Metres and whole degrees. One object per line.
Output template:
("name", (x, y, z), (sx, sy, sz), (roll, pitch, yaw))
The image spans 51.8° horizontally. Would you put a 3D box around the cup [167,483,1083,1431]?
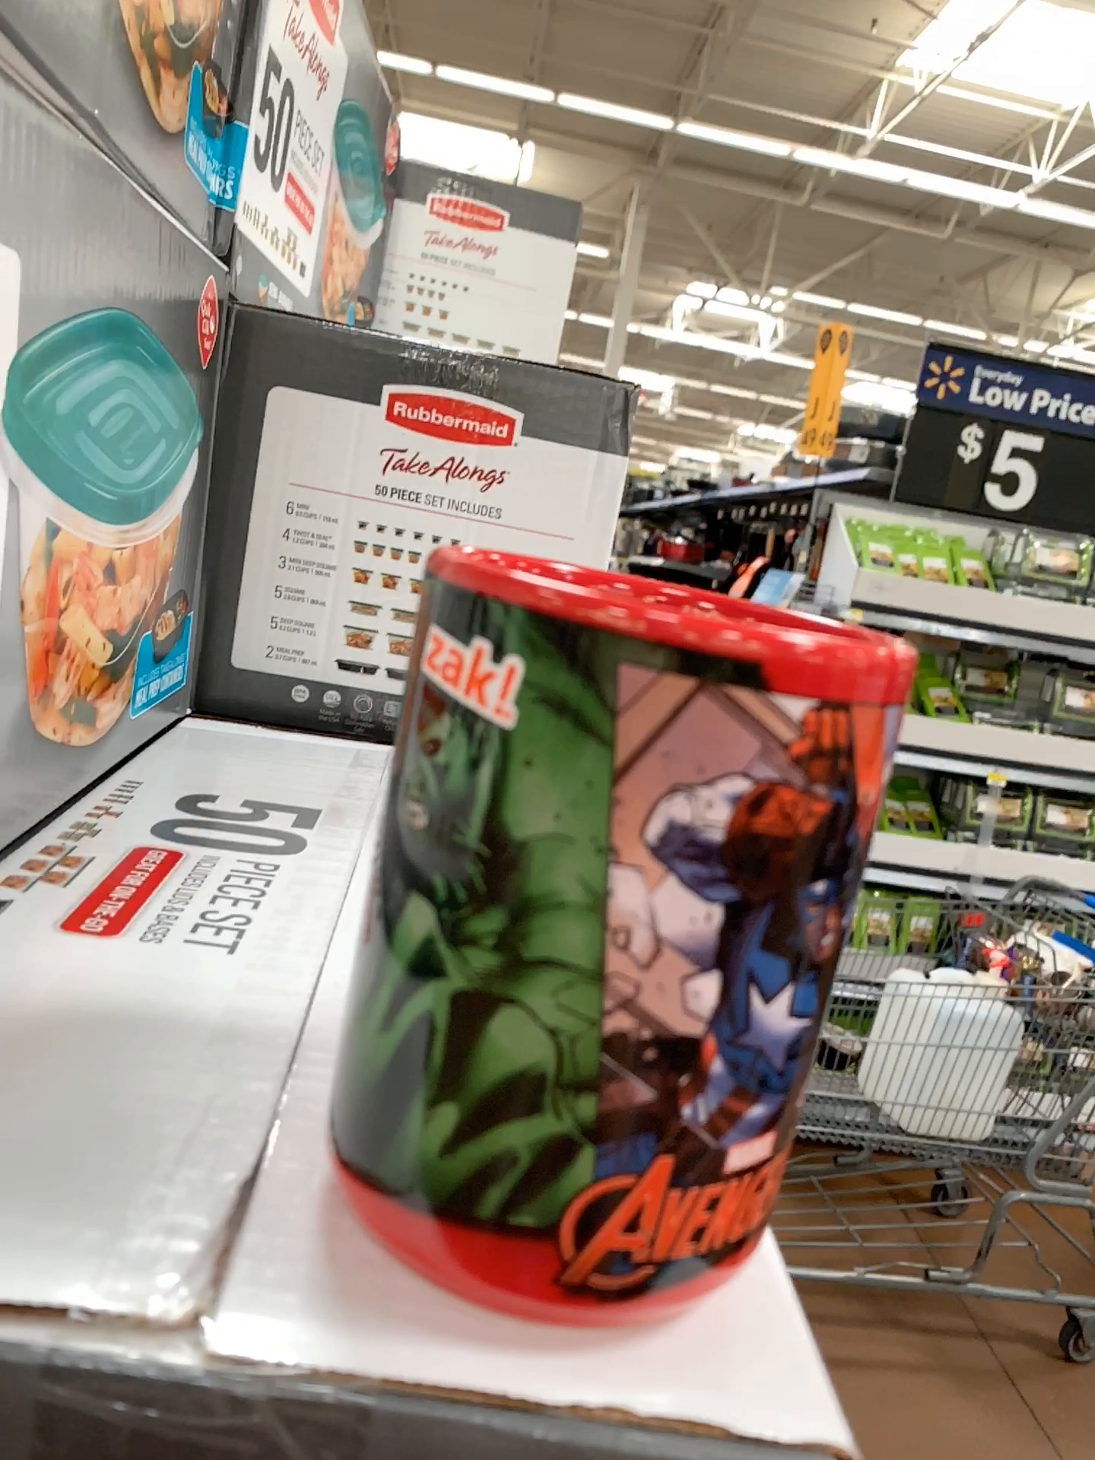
("cup", (0.013, 0.027, 0.220), (0.119, 0.114, 0.100), (1, 18, -45))
